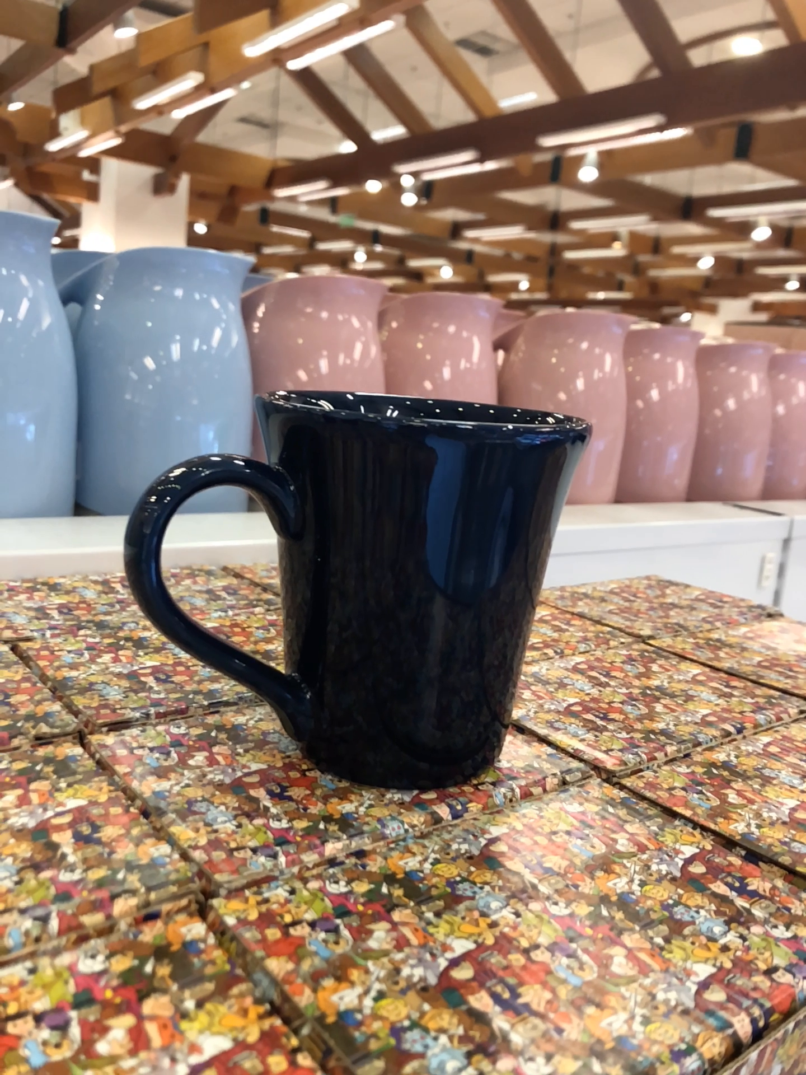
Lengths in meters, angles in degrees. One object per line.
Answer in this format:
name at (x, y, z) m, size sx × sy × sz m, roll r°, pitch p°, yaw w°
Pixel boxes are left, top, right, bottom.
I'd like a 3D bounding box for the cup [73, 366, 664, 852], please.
cup at (-0.012, 0.005, 0.248) m, size 0.120 × 0.090 × 0.100 m, roll -4°, pitch 14°, yaw -40°
